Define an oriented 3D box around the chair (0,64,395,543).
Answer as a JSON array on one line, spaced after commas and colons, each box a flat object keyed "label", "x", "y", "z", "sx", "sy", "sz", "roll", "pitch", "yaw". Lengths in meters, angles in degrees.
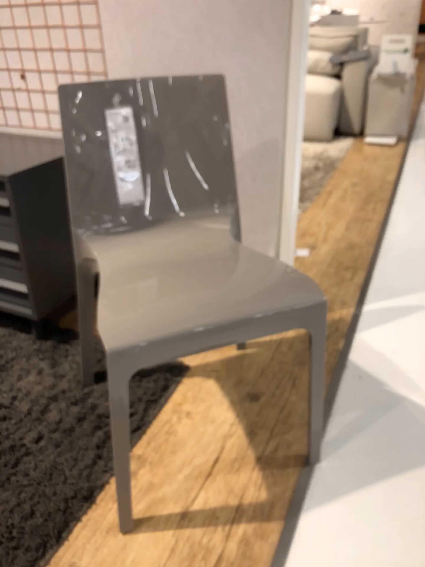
[{"label": "chair", "x": -0.068, "y": -0.013, "z": 1.022, "sx": 0.520, "sy": 0.754, "sz": 0.564, "roll": -11, "pitch": 31, "yaw": -15}]
